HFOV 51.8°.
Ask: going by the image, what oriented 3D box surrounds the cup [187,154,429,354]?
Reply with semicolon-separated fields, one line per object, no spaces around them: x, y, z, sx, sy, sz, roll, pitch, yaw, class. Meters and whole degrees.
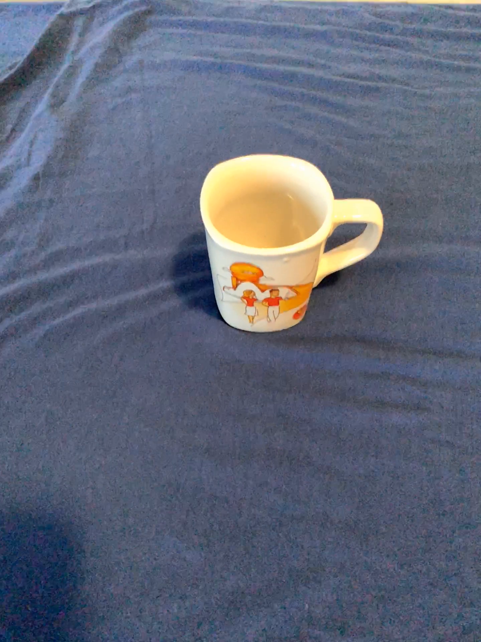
0.031;-0.035;0.282;0.110;0.090;0.070;0;56;0;cup
